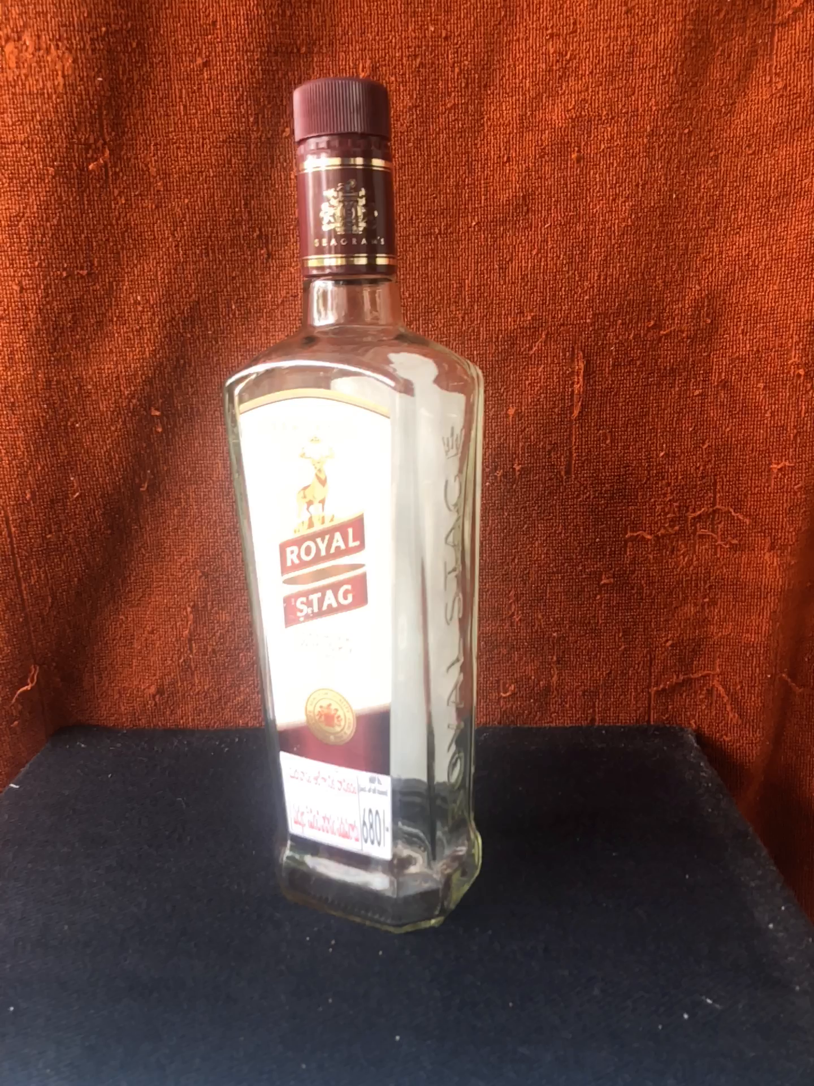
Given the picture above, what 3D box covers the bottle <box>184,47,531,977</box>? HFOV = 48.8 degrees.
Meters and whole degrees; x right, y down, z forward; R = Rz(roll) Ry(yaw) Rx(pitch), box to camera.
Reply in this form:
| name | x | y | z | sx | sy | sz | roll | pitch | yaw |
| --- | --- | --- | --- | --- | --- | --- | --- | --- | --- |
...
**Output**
| name | x | y | z | sx | sy | sz | roll | pitch | yaw |
| --- | --- | --- | --- | --- | --- | --- | --- | --- | --- |
| bottle | -0.014 | -0.002 | 0.315 | 0.090 | 0.289 | 0.060 | 7 | 17 | 23 |
